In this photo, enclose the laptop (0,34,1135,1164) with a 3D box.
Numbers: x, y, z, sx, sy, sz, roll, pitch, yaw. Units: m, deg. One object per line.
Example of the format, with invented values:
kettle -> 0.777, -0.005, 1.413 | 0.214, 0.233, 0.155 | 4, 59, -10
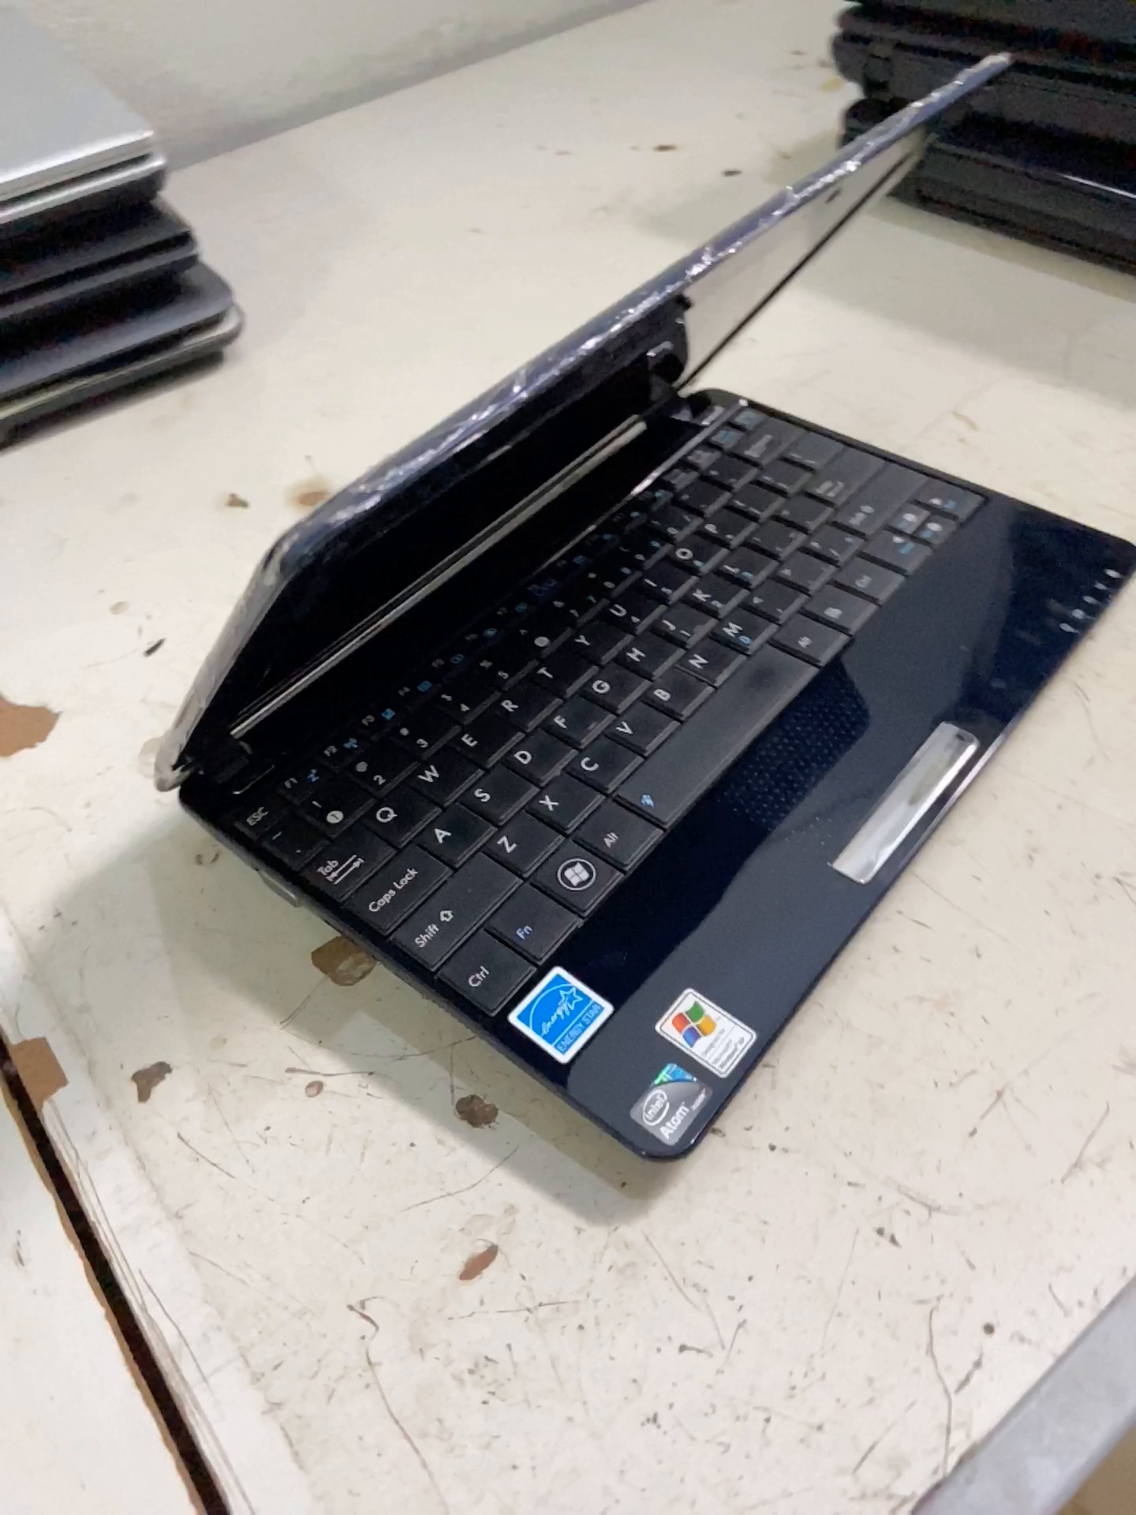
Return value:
laptop -> 0.029, -0.071, 0.312 | 0.170, 0.121, 0.259 | 29, 55, 27
